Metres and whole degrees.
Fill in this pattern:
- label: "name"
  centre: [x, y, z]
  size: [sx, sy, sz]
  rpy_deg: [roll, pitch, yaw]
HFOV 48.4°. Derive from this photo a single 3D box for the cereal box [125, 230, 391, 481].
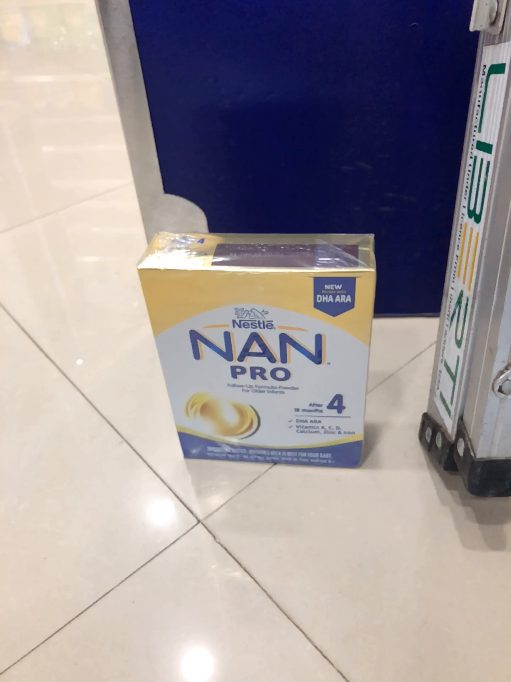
- label: "cereal box"
  centre: [0.009, 0.019, 0.445]
  size: [0.170, 0.209, 0.050]
  rpy_deg: [2, 40, 8]
